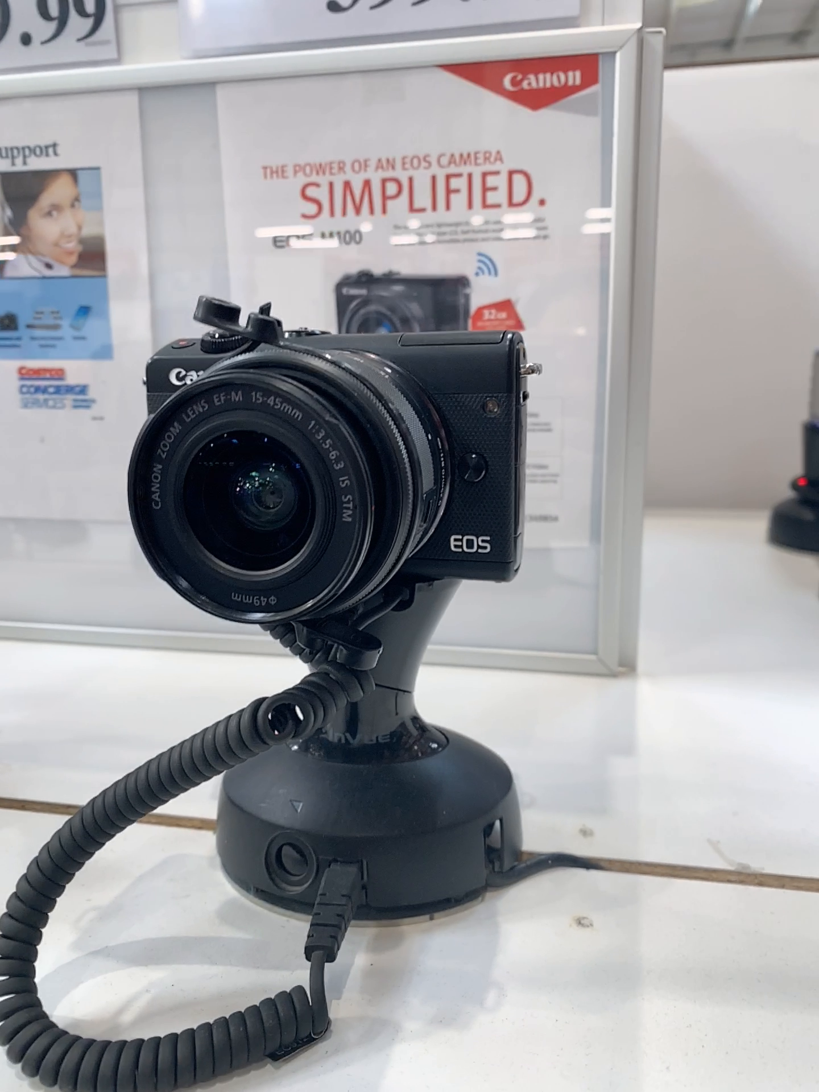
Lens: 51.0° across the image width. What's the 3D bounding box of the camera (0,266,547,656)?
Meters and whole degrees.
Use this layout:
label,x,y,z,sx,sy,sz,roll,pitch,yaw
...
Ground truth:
label,x,y,z,sx,sy,sz,roll,pitch,yaw
camera,-0.029,-0.022,0.206,0.110,0.066,0.093,2,8,16
